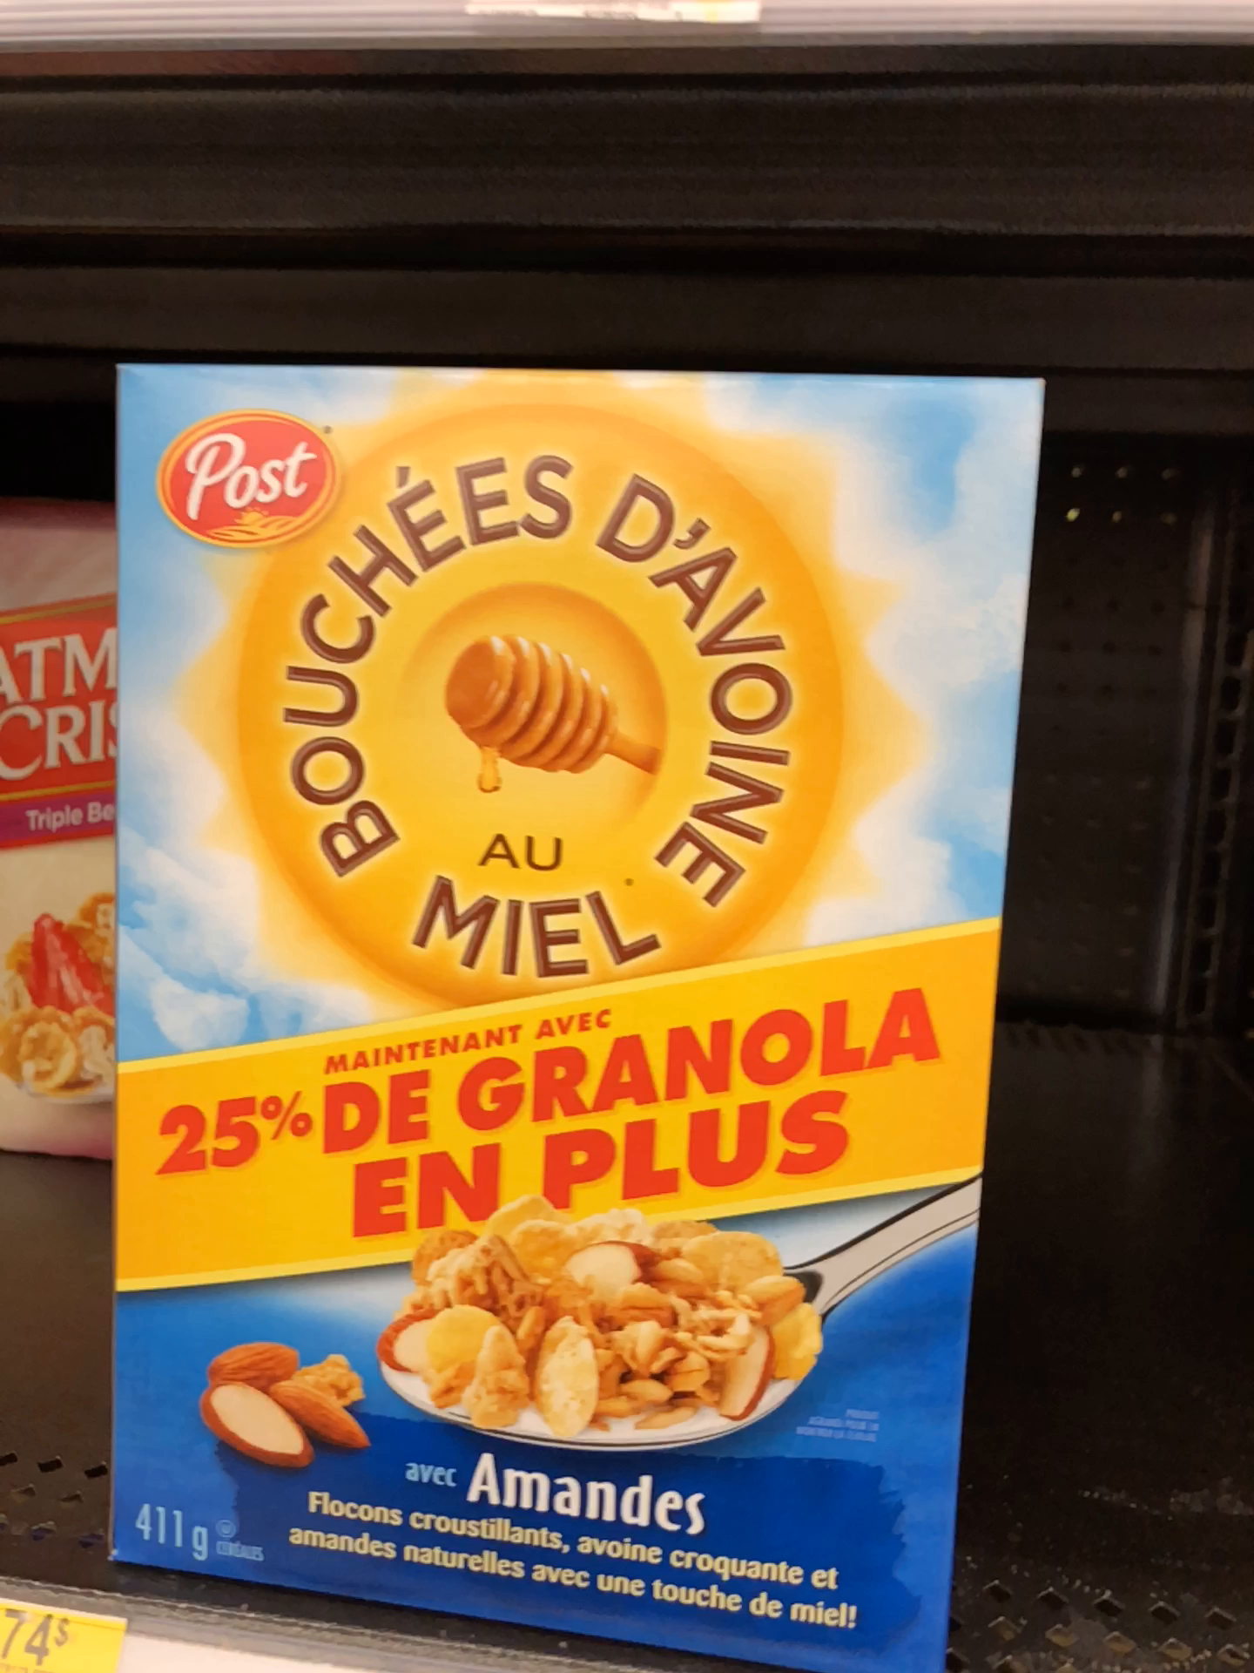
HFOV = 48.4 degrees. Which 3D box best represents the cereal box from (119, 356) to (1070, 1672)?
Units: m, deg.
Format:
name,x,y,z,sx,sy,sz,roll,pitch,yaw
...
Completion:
name,x,y,z,sx,sy,sz,roll,pitch,yaw
cereal box,-0.012,0.036,0.320,0.190,0.269,0.060,4,6,10
